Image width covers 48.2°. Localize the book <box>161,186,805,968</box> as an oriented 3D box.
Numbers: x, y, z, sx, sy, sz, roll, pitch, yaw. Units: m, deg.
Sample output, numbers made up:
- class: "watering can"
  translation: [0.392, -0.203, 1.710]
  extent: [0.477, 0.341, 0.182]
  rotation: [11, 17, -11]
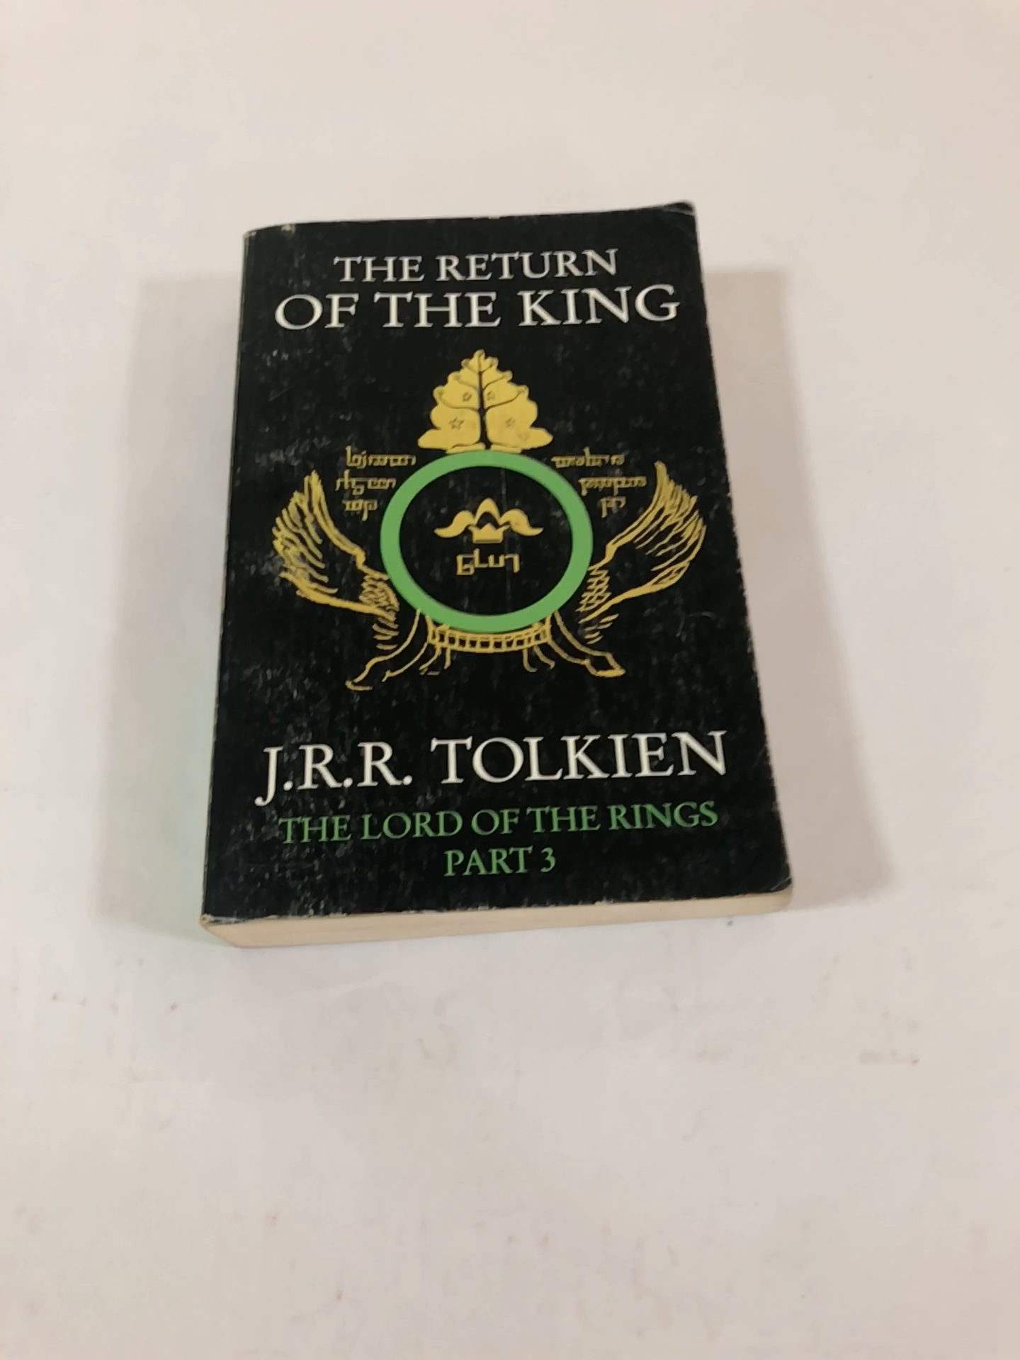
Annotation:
- class: "book"
  translation: [-0.010, -0.035, 0.290]
  extent: [0.130, 0.040, 0.200]
  rotation: [-2, 65, -2]
